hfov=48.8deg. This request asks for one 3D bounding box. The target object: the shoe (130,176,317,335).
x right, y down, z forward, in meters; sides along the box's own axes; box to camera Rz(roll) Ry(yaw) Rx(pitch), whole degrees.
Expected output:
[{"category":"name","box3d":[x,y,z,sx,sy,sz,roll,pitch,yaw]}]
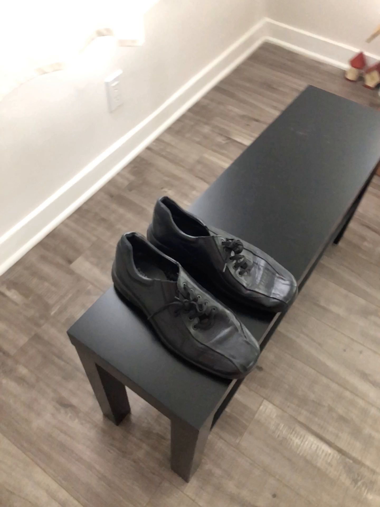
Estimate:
[{"category":"shoe","box3d":[0.048,-0.002,0.712,0.283,0.110,0.110,30,58,17]}]

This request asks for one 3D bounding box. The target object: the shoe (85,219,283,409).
[{"category":"shoe","box3d":[-0.017,0.087,0.653,0.286,0.110,0.110,36,60,21]}]
